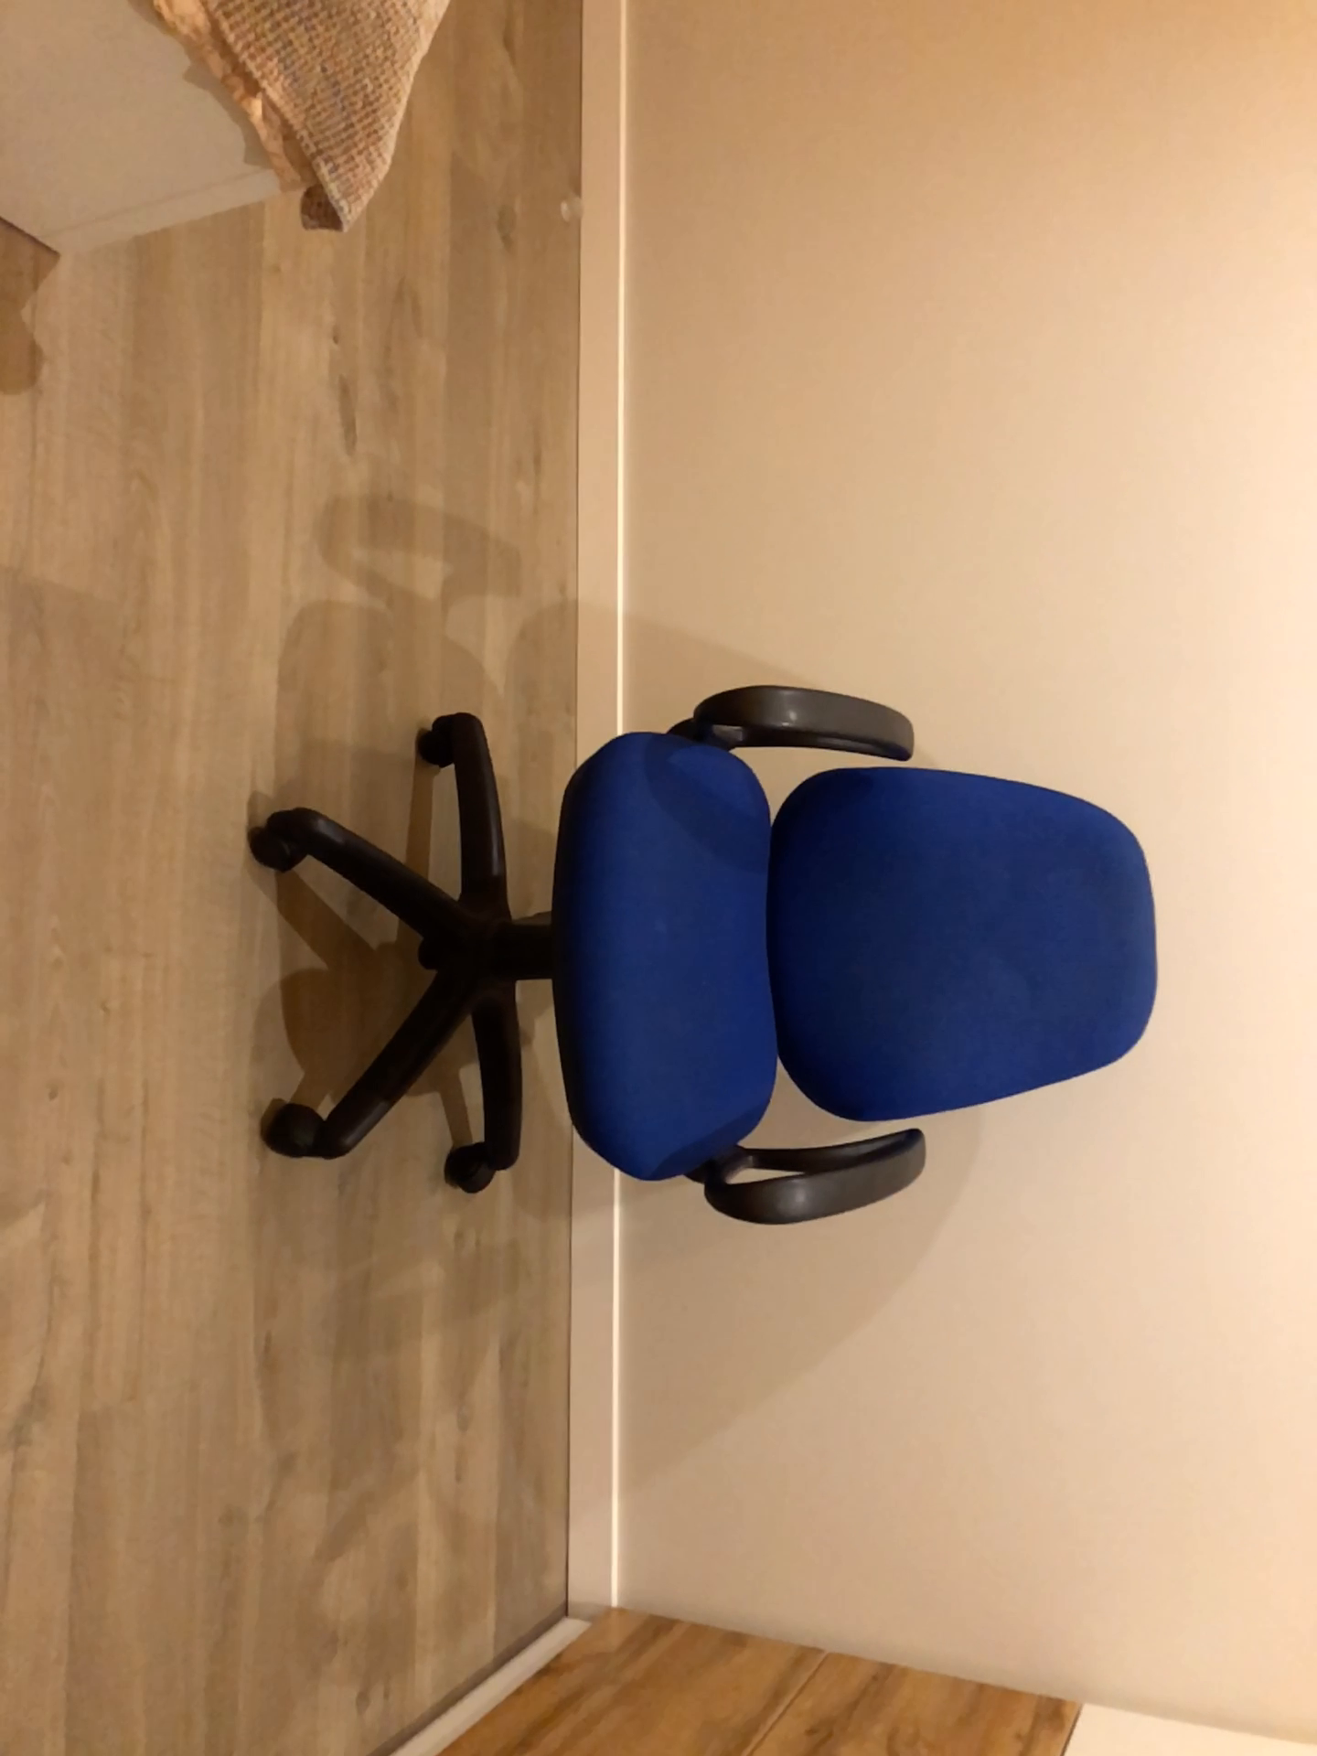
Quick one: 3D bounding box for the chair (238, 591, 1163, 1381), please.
[{"bbox_3d":[0.095,0.101,1.763,0.704,0.905,0.696,-4,91,-65],"label":"chair"}]
